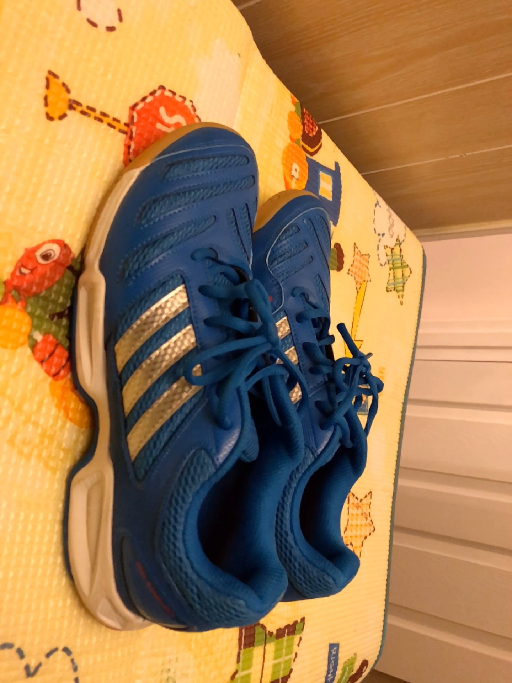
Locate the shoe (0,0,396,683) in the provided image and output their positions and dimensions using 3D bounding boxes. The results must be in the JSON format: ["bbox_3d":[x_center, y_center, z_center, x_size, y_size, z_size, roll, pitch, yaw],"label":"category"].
[{"bbox_3d":[-0.025,0.002,0.306,0.110,0.139,0.290,20,75,-52],"label":"shoe"}]

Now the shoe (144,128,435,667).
[{"bbox_3d":[0.031,0.029,0.379,0.110,0.119,0.290,21,74,-52],"label":"shoe"}]
